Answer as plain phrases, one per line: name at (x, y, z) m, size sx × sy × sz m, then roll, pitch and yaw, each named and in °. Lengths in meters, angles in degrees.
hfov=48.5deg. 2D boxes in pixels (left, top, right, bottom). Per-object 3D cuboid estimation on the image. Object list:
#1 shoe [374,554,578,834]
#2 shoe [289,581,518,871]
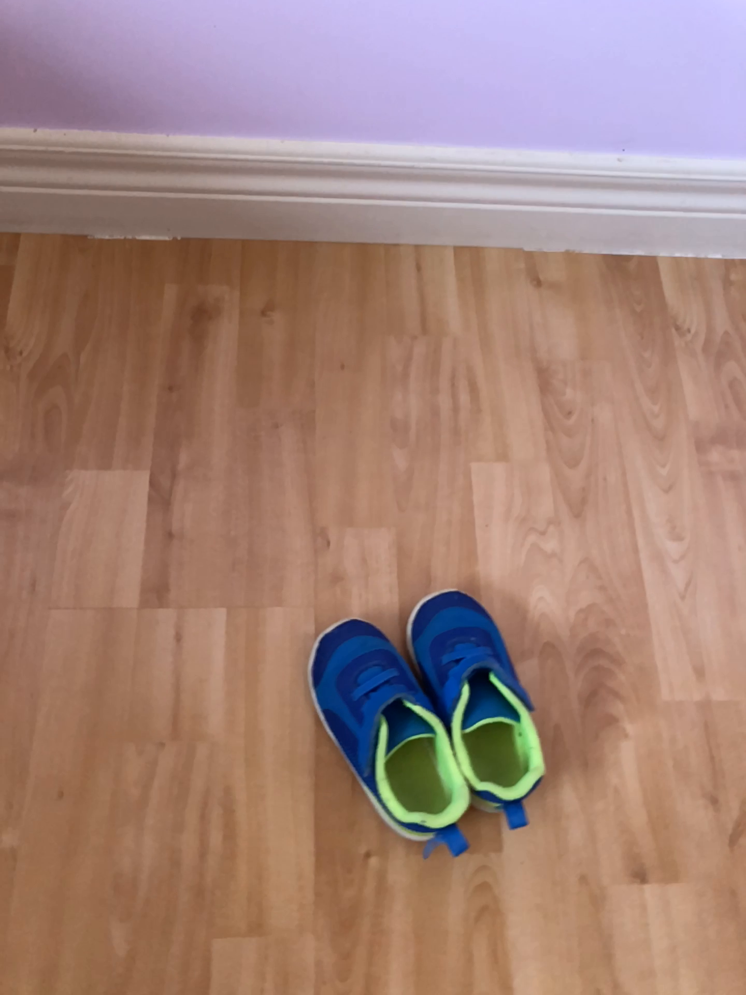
shoe at (0.063, 0.132, 0.560) m, size 0.080 × 0.070 × 0.160 m, roll -12°, pitch 68°, yaw -10°
shoe at (0.014, 0.153, 0.556) m, size 0.080 × 0.070 × 0.160 m, roll -24°, pitch 70°, yaw -15°
